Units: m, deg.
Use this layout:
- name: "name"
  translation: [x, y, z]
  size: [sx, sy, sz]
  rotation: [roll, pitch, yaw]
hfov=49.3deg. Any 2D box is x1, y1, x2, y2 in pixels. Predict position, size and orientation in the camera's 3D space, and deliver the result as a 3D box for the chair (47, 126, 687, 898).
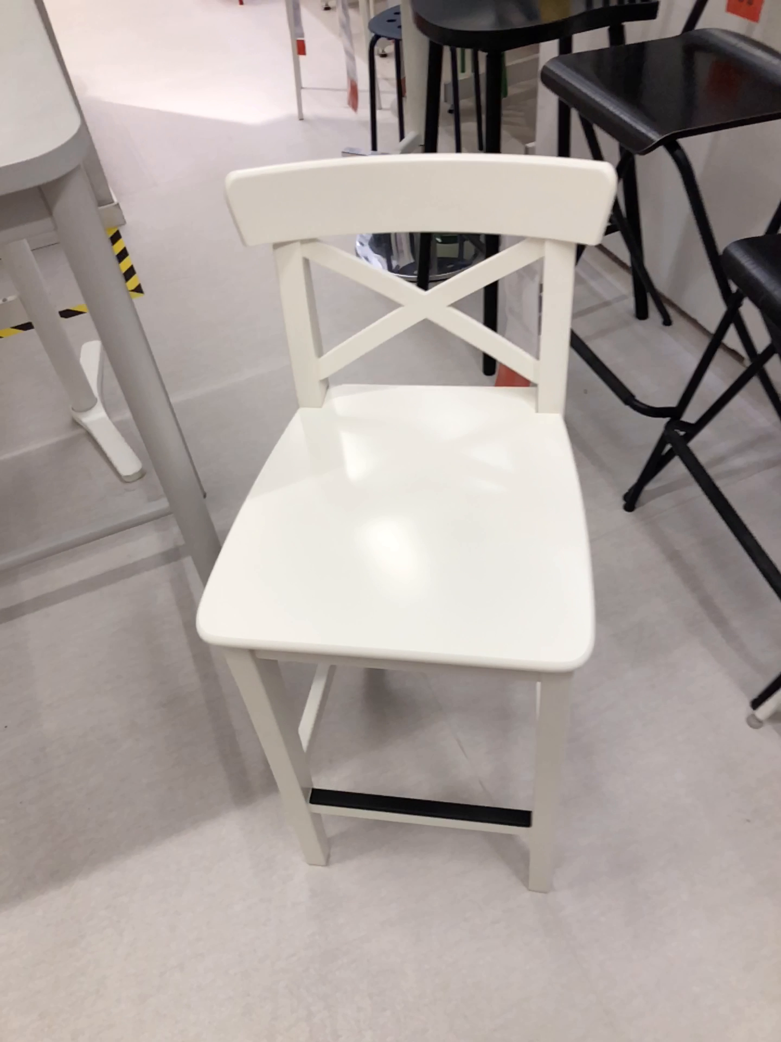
- name: "chair"
  translation: [0.041, 0.058, 0.994]
  size: [0.420, 0.835, 0.423]
  rotation: [3, 49, 10]
